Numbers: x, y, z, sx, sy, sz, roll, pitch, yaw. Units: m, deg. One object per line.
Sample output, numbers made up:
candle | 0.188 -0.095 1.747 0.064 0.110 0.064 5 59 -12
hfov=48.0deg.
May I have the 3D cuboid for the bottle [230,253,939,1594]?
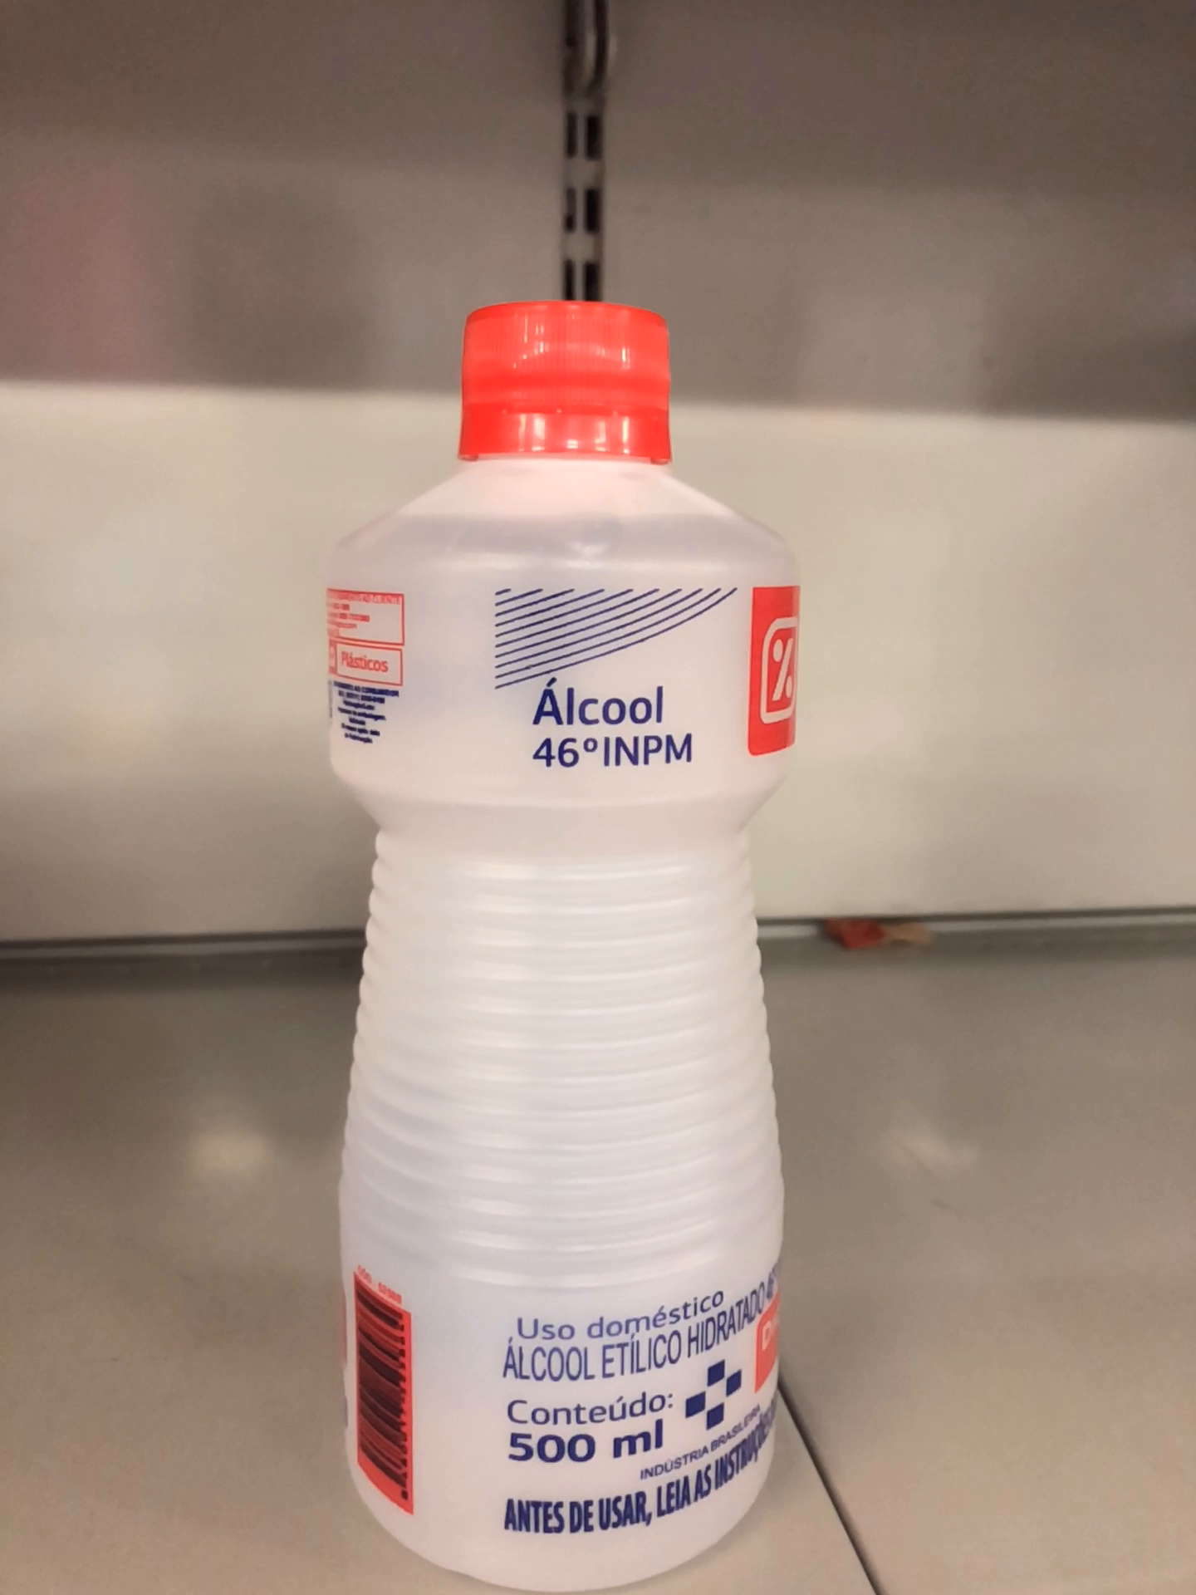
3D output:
bottle | -0.007 0.019 0.213 0.080 0.179 0.080 0 10 0
